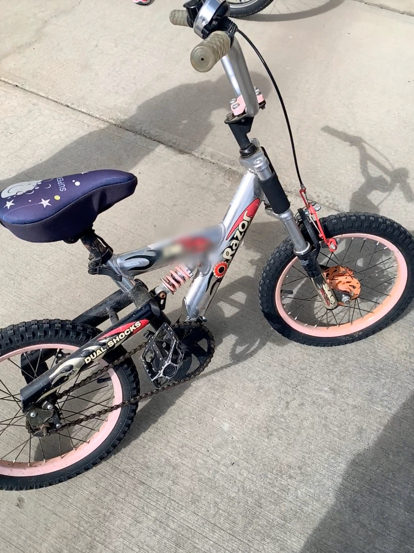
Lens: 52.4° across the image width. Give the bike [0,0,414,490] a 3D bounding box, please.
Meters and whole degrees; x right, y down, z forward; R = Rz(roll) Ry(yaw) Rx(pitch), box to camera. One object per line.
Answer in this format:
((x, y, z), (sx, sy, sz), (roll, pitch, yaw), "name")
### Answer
((-0.041, -0.101, 0.843), (1.124, 0.692, 0.359), (-22, 58, -19), "bike")
